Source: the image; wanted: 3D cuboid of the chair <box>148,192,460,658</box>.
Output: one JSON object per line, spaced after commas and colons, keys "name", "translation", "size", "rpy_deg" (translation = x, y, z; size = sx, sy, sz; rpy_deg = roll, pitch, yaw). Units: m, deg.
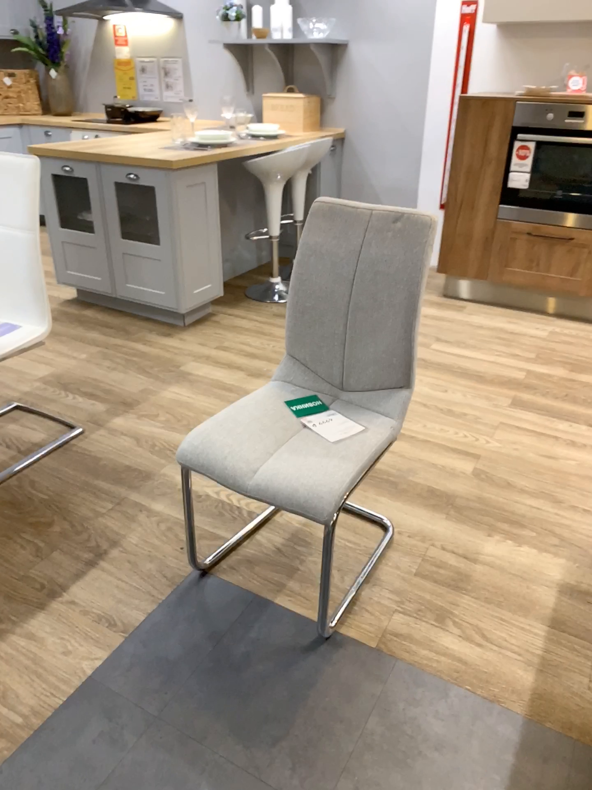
{"name": "chair", "translation": [0.037, 0.040, 1.616], "size": [0.491, 0.984, 0.573], "rpy_deg": [17, 31, 28]}
